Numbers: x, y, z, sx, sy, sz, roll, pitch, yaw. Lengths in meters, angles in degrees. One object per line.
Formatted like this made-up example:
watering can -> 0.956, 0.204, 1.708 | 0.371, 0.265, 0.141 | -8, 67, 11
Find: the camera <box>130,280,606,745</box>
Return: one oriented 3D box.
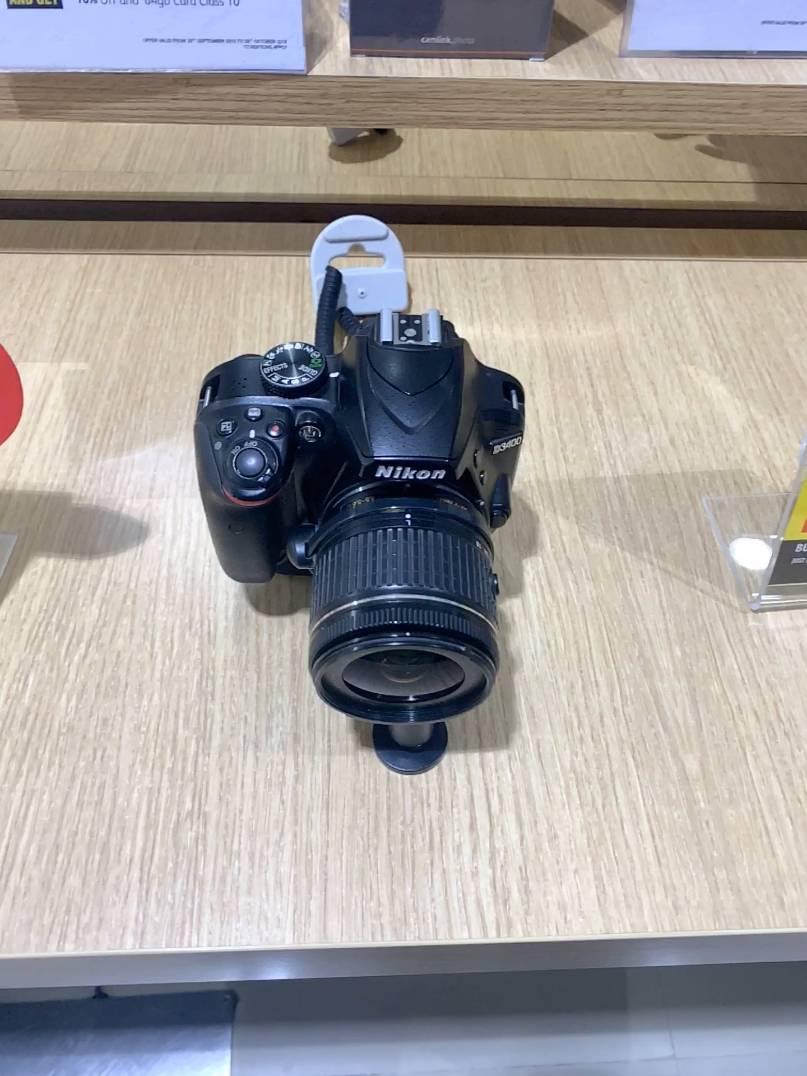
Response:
camera -> -0.012, -0.011, 0.285 | 0.120, 0.090, 0.130 | -1, 52, -3
